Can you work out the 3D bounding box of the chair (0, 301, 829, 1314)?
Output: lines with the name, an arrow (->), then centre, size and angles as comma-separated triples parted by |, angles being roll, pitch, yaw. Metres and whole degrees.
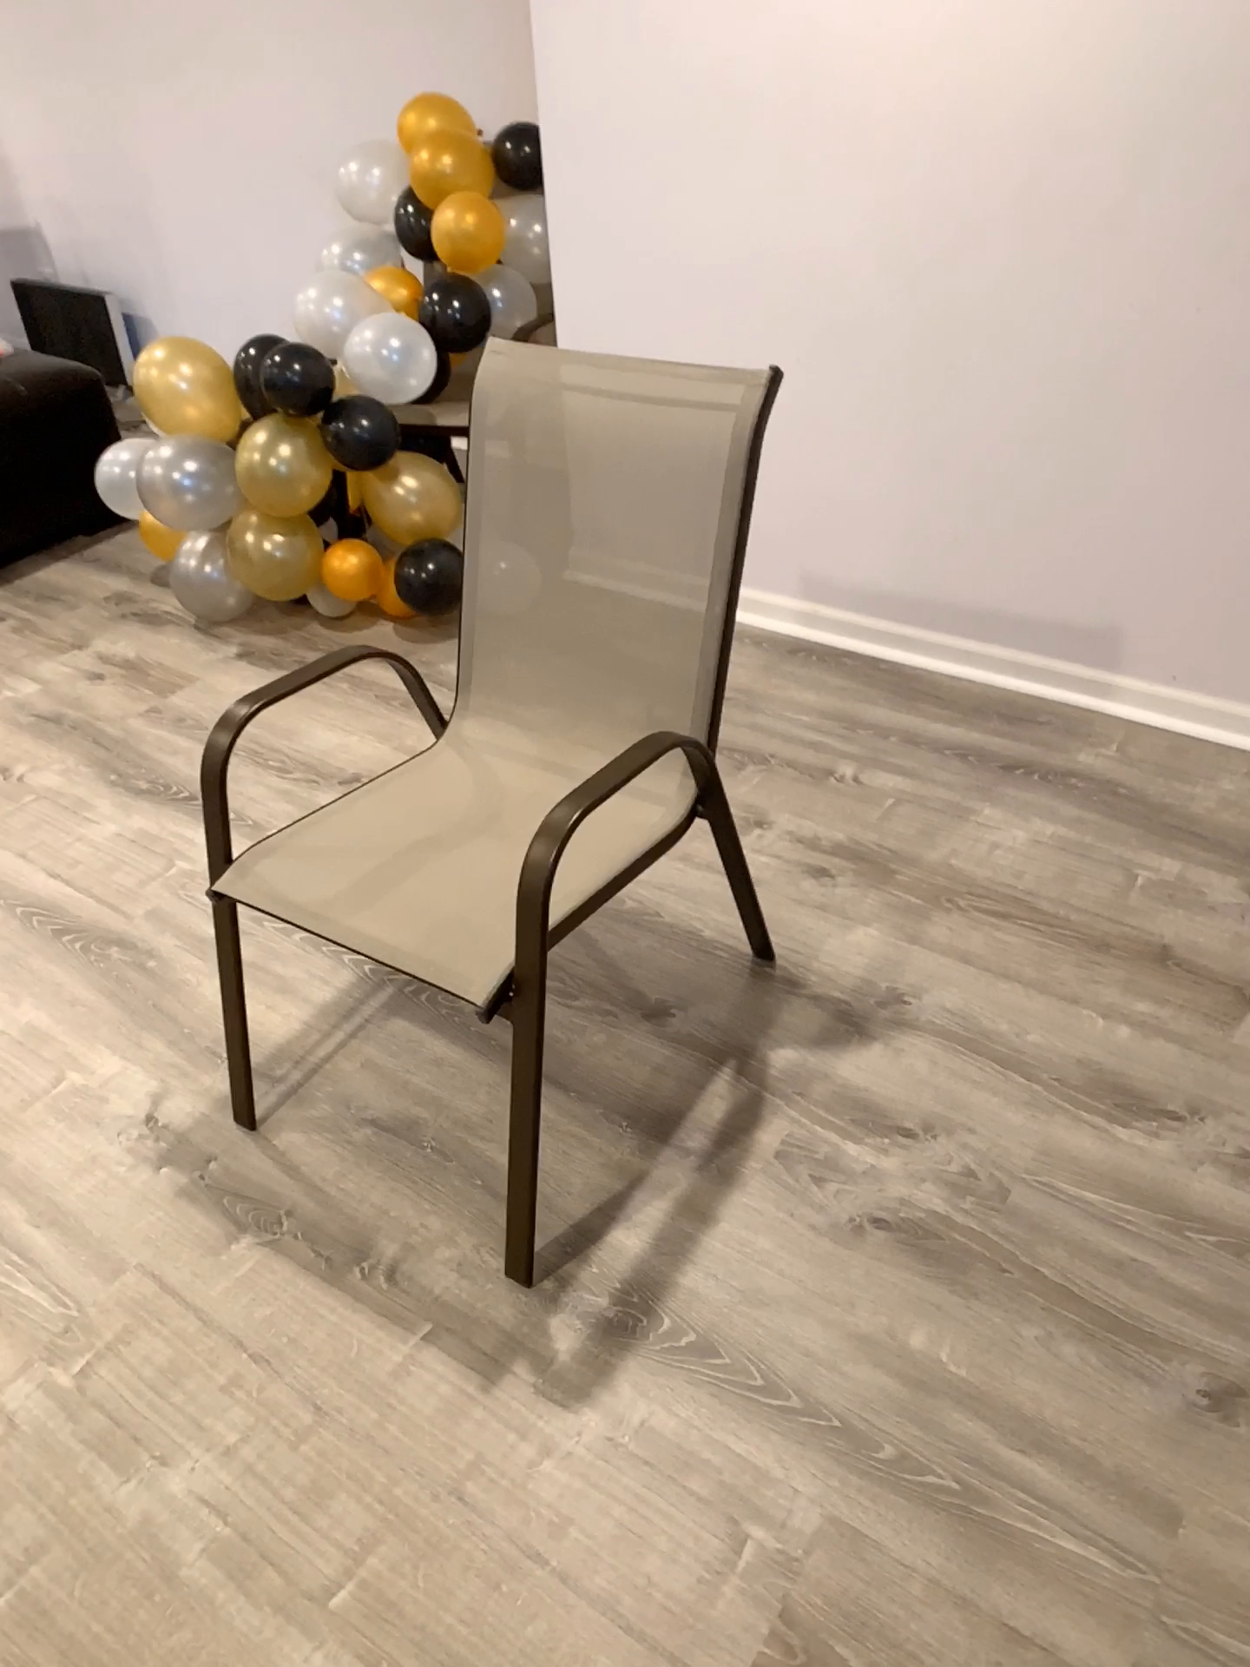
chair -> -0.181, -0.081, 1.558 | 0.566, 0.873, 0.719 | 18, 41, 28
